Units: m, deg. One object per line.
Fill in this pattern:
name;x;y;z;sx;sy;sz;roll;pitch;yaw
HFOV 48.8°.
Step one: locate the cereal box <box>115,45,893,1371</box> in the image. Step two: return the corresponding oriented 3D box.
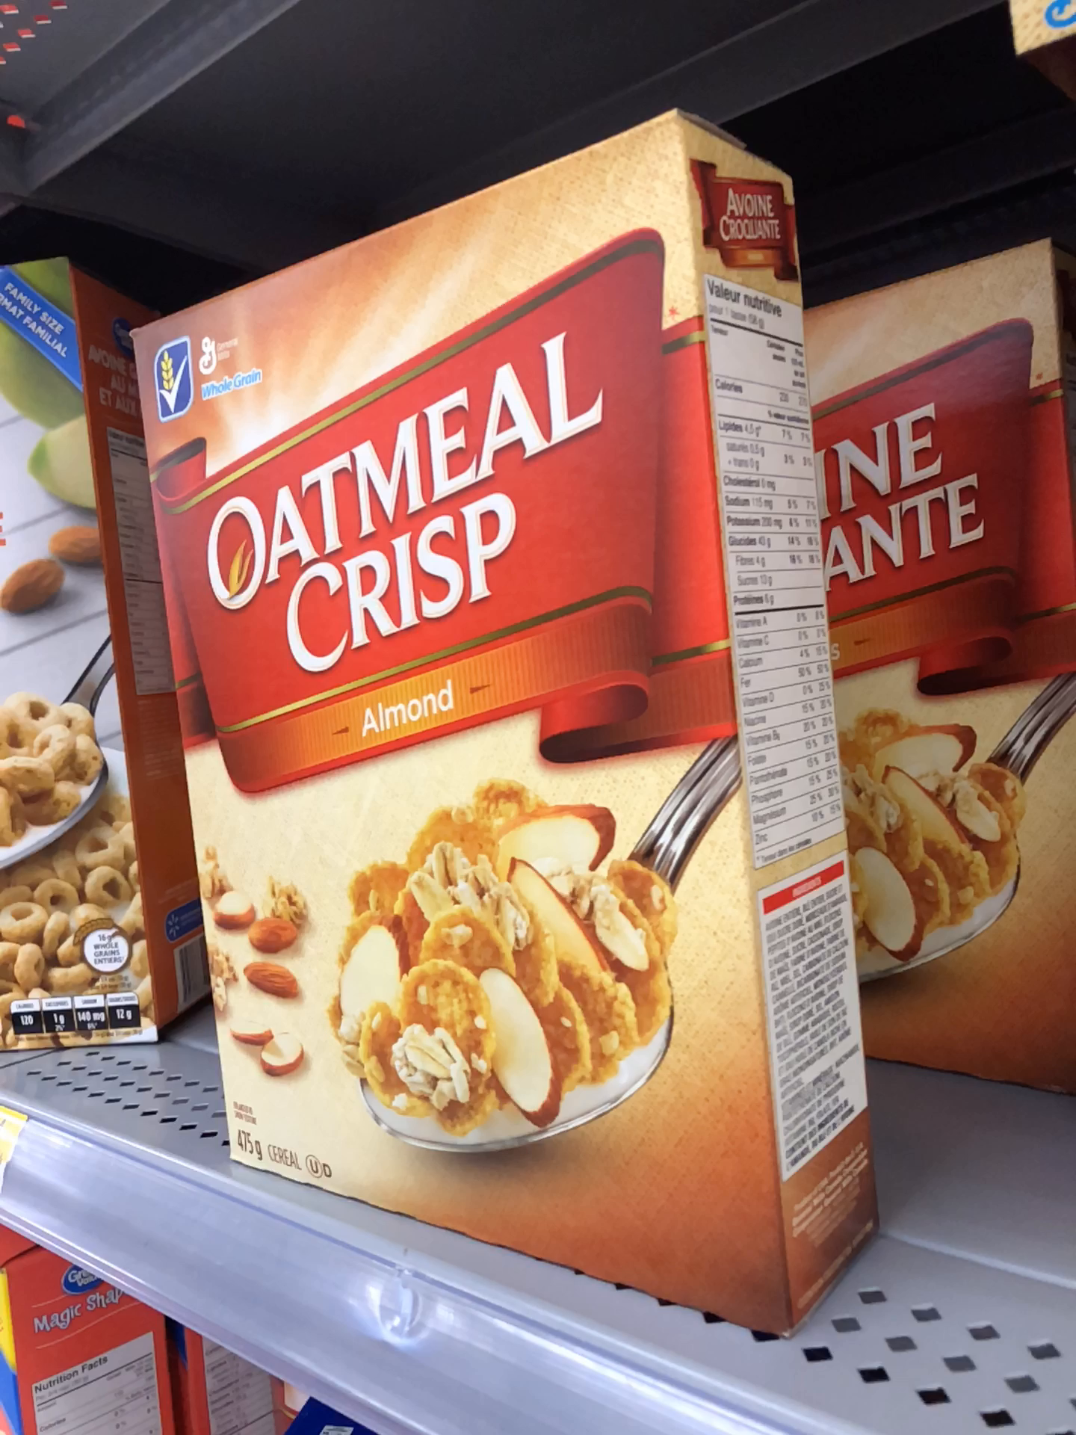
cereal box;-0.022;0.002;0.333;0.210;0.280;0.050;-3;4;38
